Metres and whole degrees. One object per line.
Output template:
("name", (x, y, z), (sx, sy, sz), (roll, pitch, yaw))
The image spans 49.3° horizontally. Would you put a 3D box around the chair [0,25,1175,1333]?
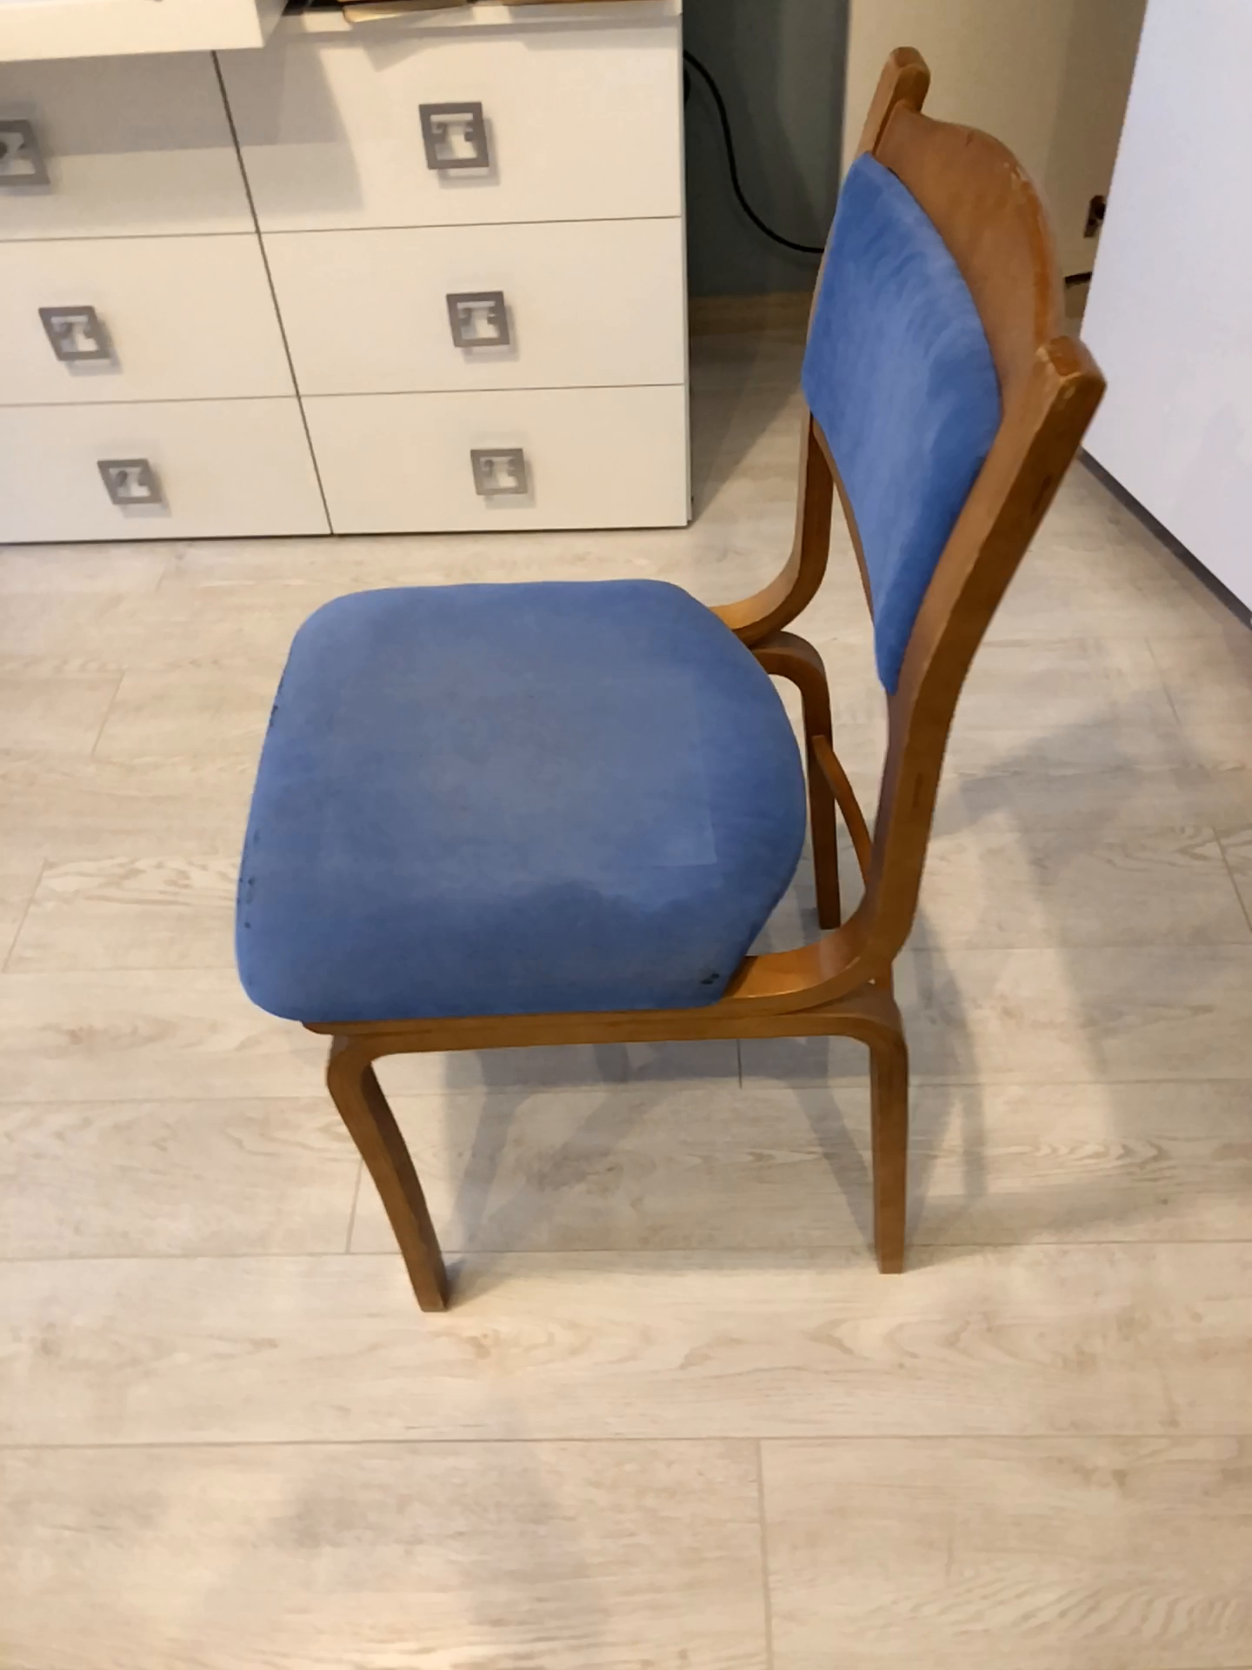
("chair", (-0.016, -0.041, 0.977), (0.470, 0.805, 0.453), (-4, 48, 0))
